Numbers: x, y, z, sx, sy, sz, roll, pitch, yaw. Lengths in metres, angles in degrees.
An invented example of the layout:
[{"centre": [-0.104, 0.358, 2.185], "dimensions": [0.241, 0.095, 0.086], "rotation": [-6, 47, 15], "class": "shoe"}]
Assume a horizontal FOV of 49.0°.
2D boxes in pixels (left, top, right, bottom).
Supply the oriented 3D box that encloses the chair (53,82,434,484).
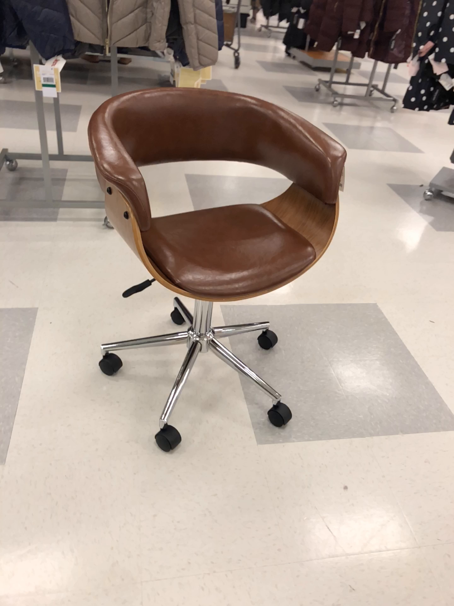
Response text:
[{"centre": [-0.036, -0.110, 1.265], "dimensions": [0.590, 0.696, 0.628], "rotation": [-12, 39, -27], "class": "chair"}]
